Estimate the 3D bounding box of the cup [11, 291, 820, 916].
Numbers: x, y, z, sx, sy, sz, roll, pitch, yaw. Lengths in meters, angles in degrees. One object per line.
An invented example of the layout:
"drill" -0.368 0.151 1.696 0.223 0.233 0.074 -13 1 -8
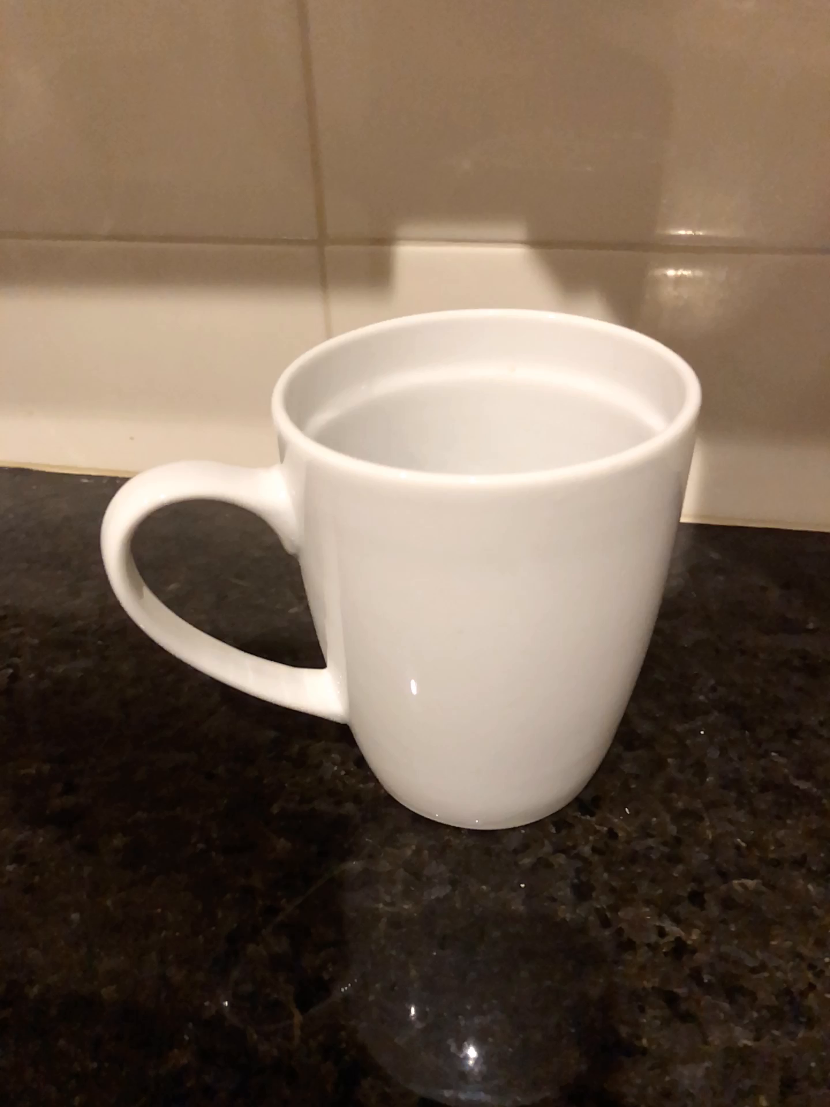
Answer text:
"cup" -0.002 0.004 0.209 0.130 0.090 0.090 -7 33 -7
